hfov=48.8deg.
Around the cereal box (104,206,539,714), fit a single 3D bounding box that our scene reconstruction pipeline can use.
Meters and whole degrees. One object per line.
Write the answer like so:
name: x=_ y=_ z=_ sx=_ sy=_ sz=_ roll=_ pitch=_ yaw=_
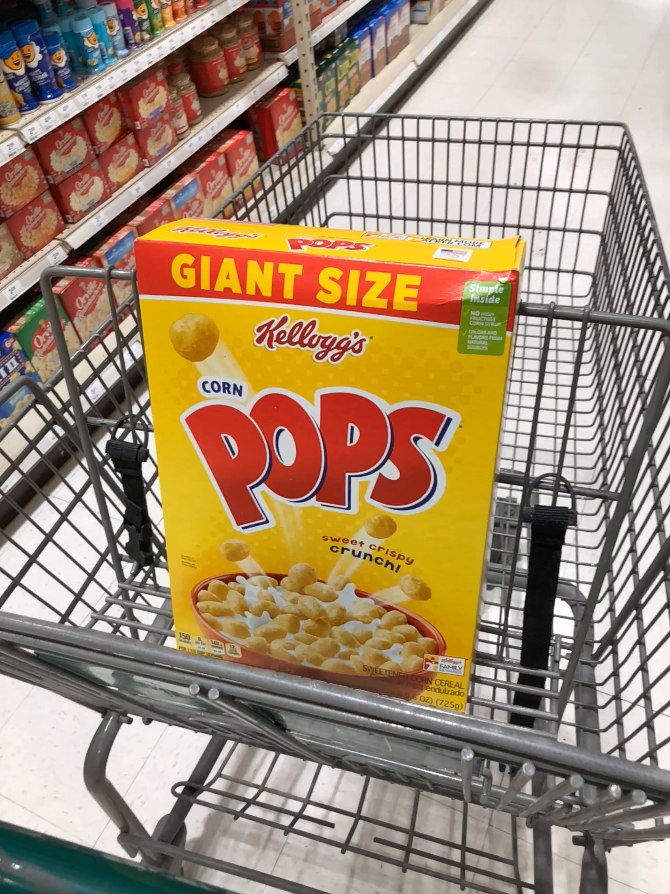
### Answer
cereal box: x=-0.008 y=0.014 z=0.524 sx=0.250 sy=0.330 sz=0.080 roll=8 pitch=29 yaw=14
